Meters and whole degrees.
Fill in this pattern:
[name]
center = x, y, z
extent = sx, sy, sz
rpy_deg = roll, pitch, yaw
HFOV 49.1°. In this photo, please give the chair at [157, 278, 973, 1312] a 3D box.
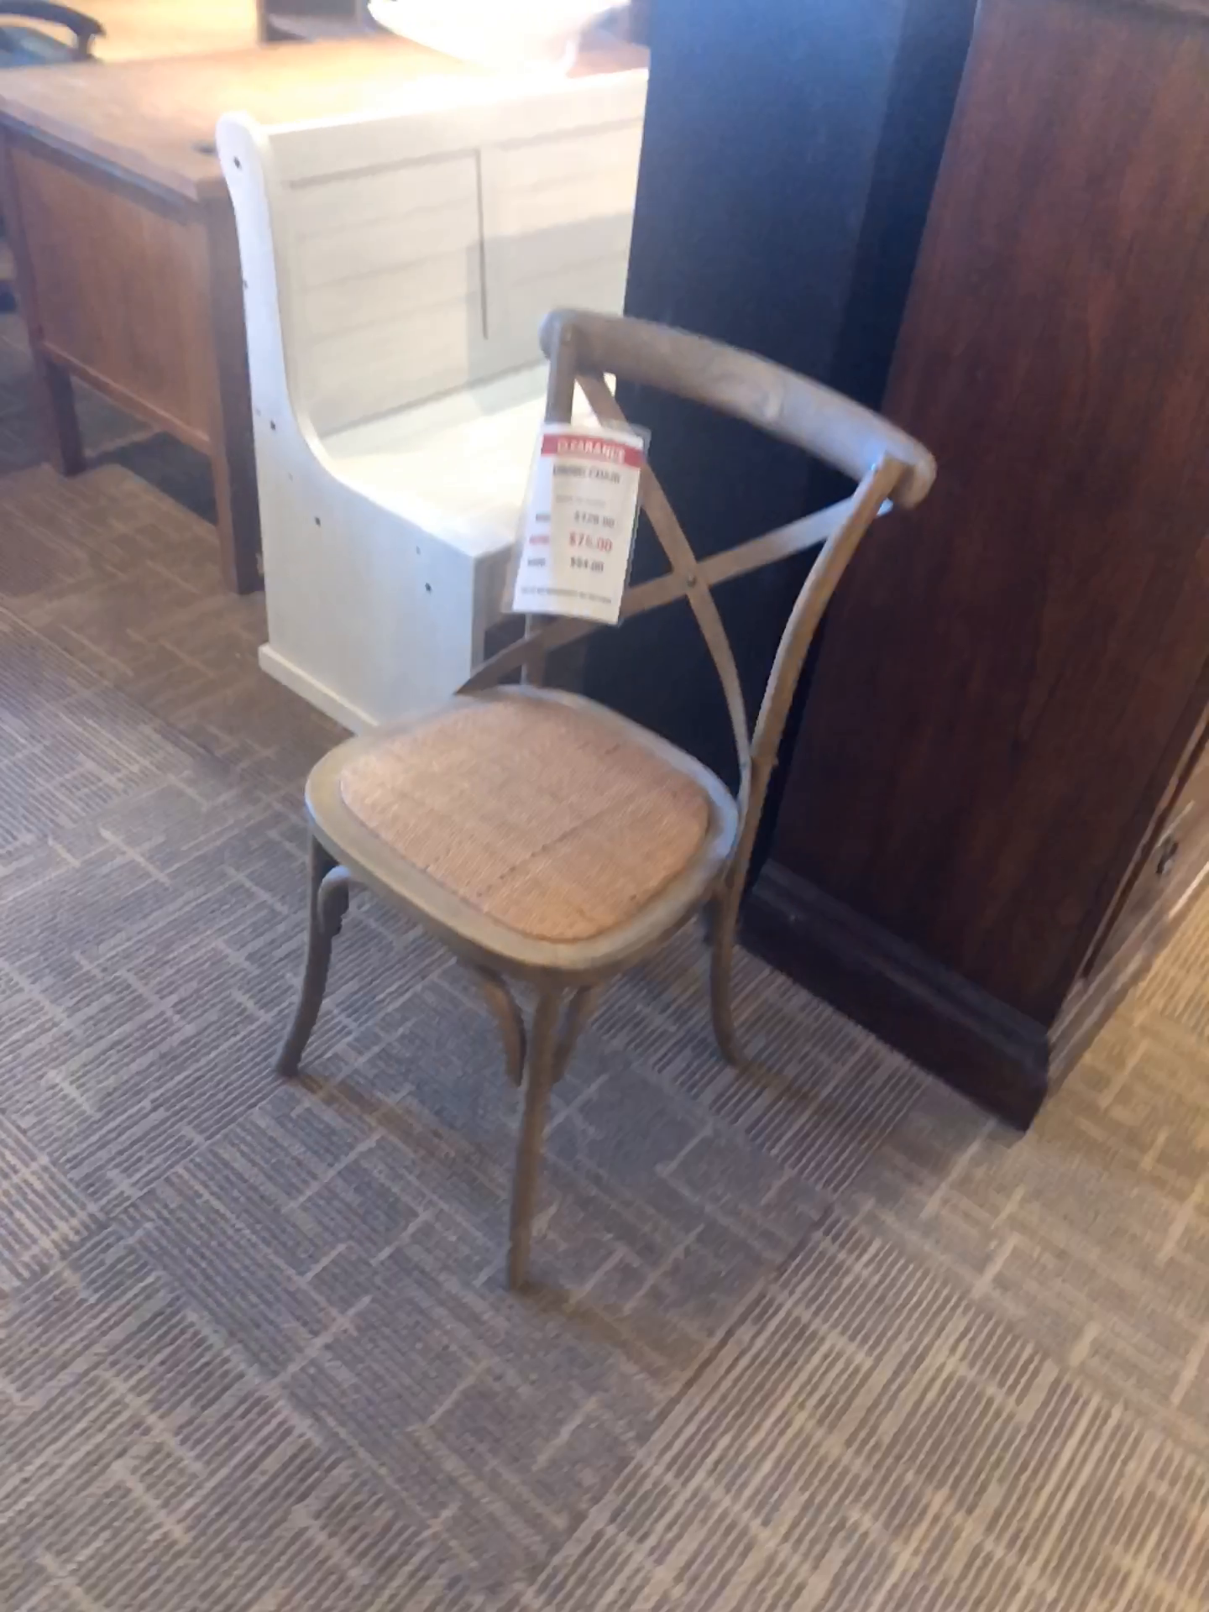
[chair]
center = -0.064, -0.014, 1.437
extent = 0.491, 0.860, 0.531
rpy_deg = 34, 46, 28
